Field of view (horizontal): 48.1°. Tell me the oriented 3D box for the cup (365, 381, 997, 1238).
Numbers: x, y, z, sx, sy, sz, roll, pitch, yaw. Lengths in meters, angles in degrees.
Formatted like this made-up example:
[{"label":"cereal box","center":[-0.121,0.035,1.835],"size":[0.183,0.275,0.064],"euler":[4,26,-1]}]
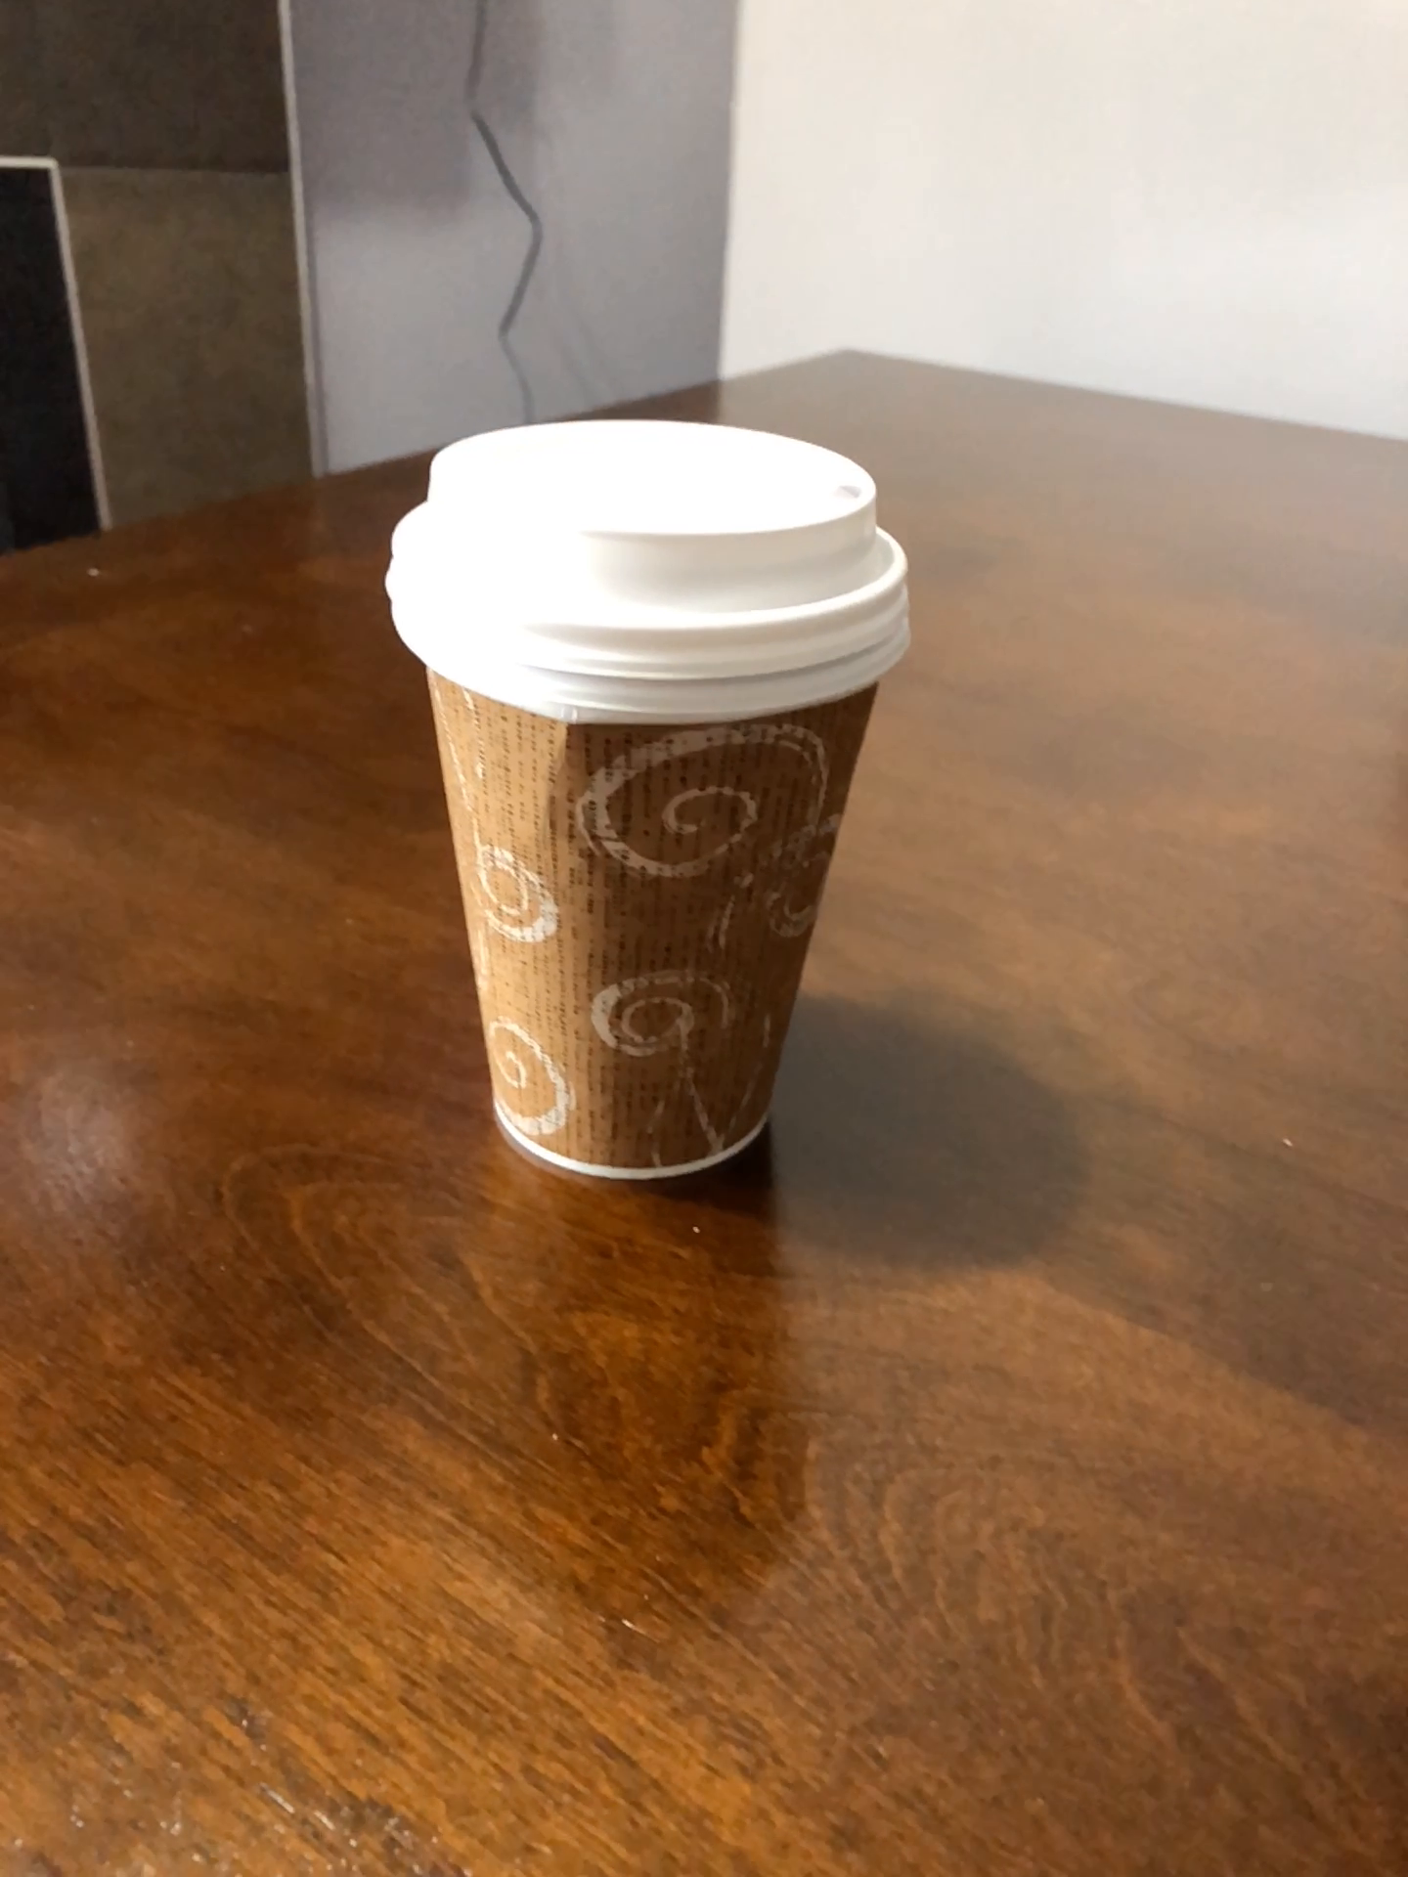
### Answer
[{"label":"cup","center":[-0.008,-0.021,0.233],"size":[0.070,0.100,0.080],"euler":[1,29,-6]}]
